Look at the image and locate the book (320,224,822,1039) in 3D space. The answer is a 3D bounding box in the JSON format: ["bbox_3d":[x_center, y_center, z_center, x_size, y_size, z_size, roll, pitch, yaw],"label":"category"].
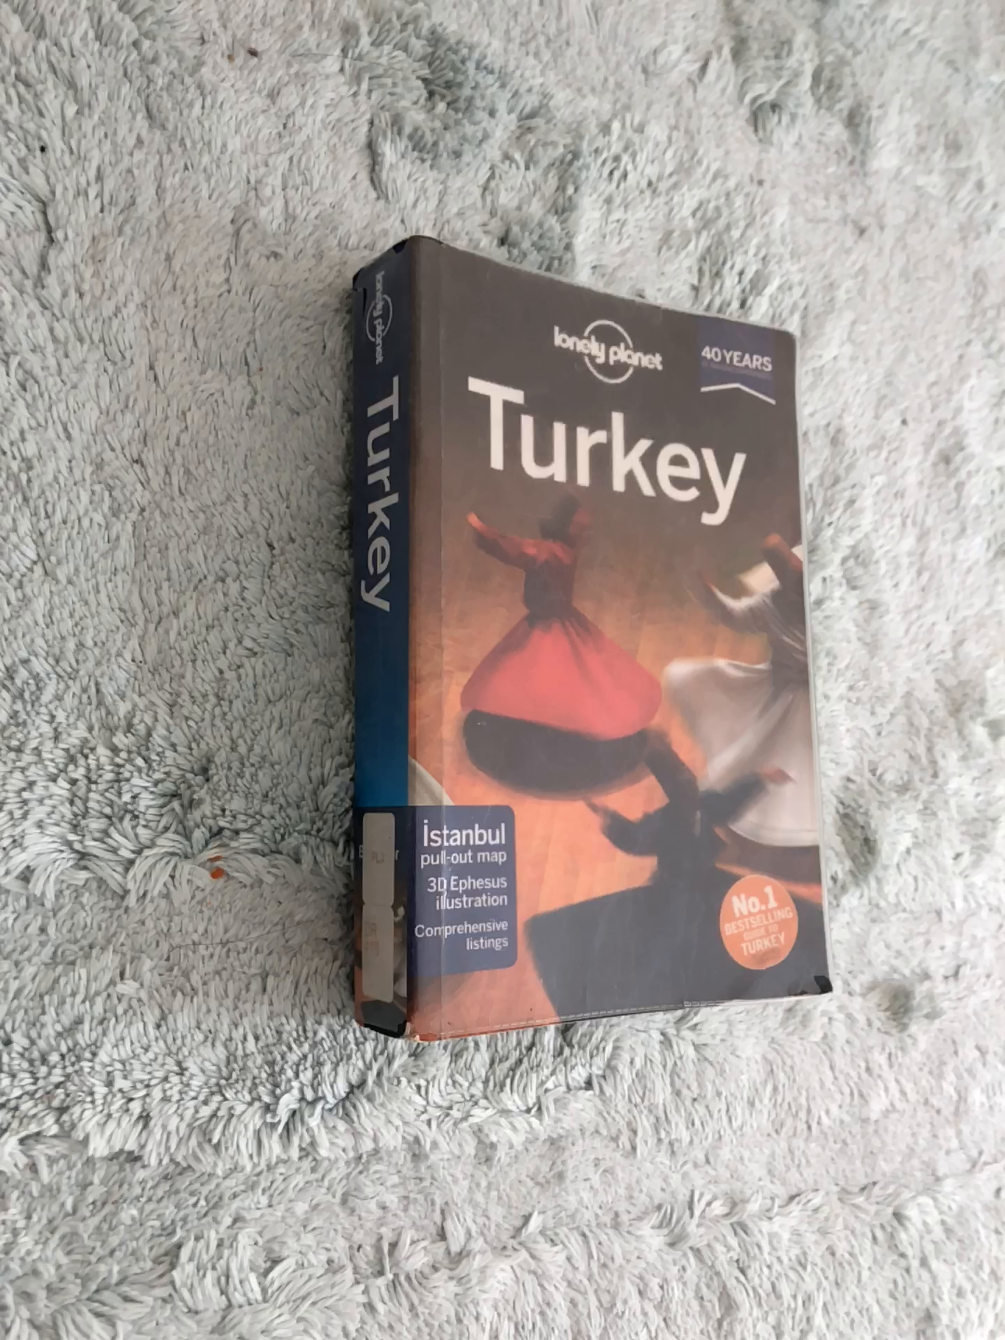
[{"bbox_3d":[0.021,-0.007,0.311,0.131,0.046,0.190,4,82,-30],"label":"book"}]
